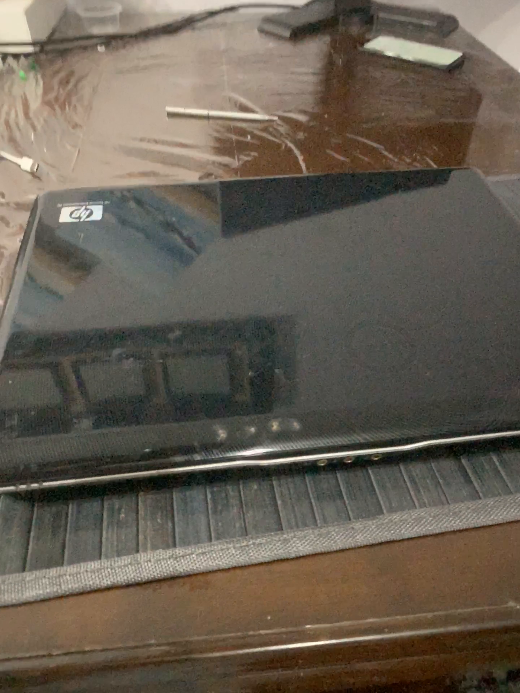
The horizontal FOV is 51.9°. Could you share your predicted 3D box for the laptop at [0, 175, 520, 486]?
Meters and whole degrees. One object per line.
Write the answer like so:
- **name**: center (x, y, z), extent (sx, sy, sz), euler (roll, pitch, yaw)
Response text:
- **laptop**: center (0.024, -0.040, 0.338), extent (0.339, 0.009, 0.232), euler (-5, 47, -9)
